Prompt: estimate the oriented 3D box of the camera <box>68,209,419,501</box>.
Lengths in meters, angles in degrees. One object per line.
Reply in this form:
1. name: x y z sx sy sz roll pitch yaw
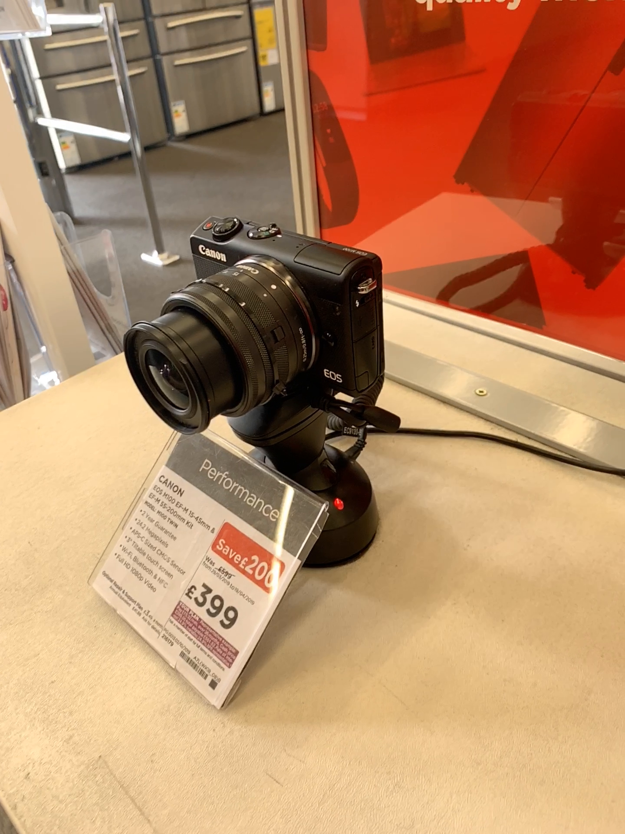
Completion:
1. camera: -0.029 -0.039 0.305 0.121 0.069 0.100 25 45 35
